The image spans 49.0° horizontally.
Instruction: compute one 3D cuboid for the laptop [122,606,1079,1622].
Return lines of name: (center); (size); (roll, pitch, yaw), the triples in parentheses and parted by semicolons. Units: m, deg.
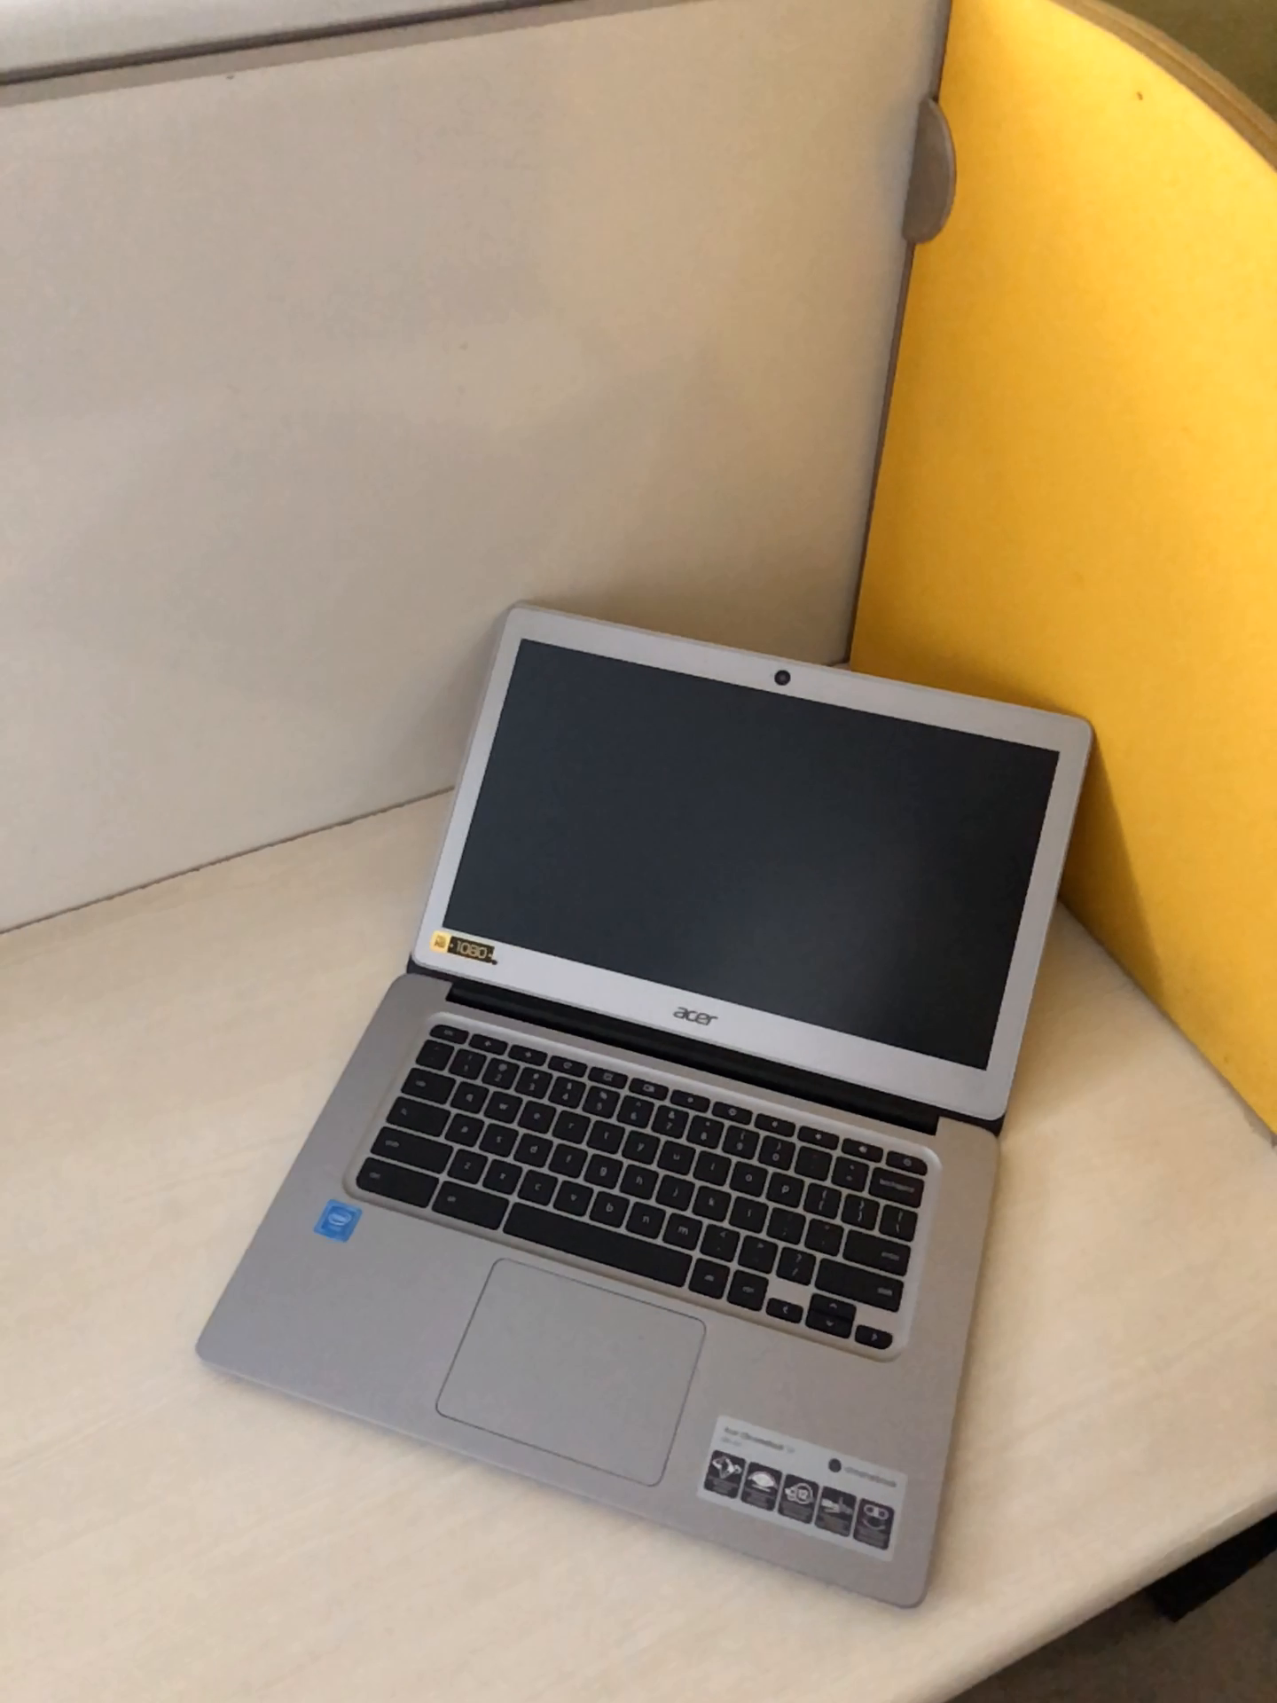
laptop: (0.014, 0.087, 0.685); (0.319, 0.123, 0.411); (14, 51, 12)
